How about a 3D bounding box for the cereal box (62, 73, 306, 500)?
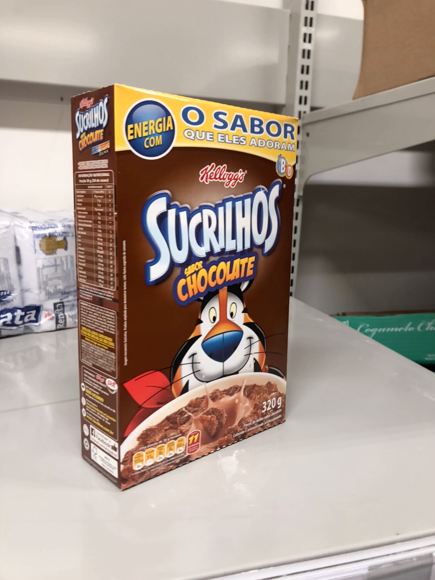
[{"bbox_3d":[-0.019,-0.008,0.387,0.180,0.269,0.070,-8,14,-43],"label":"cereal box"}]
